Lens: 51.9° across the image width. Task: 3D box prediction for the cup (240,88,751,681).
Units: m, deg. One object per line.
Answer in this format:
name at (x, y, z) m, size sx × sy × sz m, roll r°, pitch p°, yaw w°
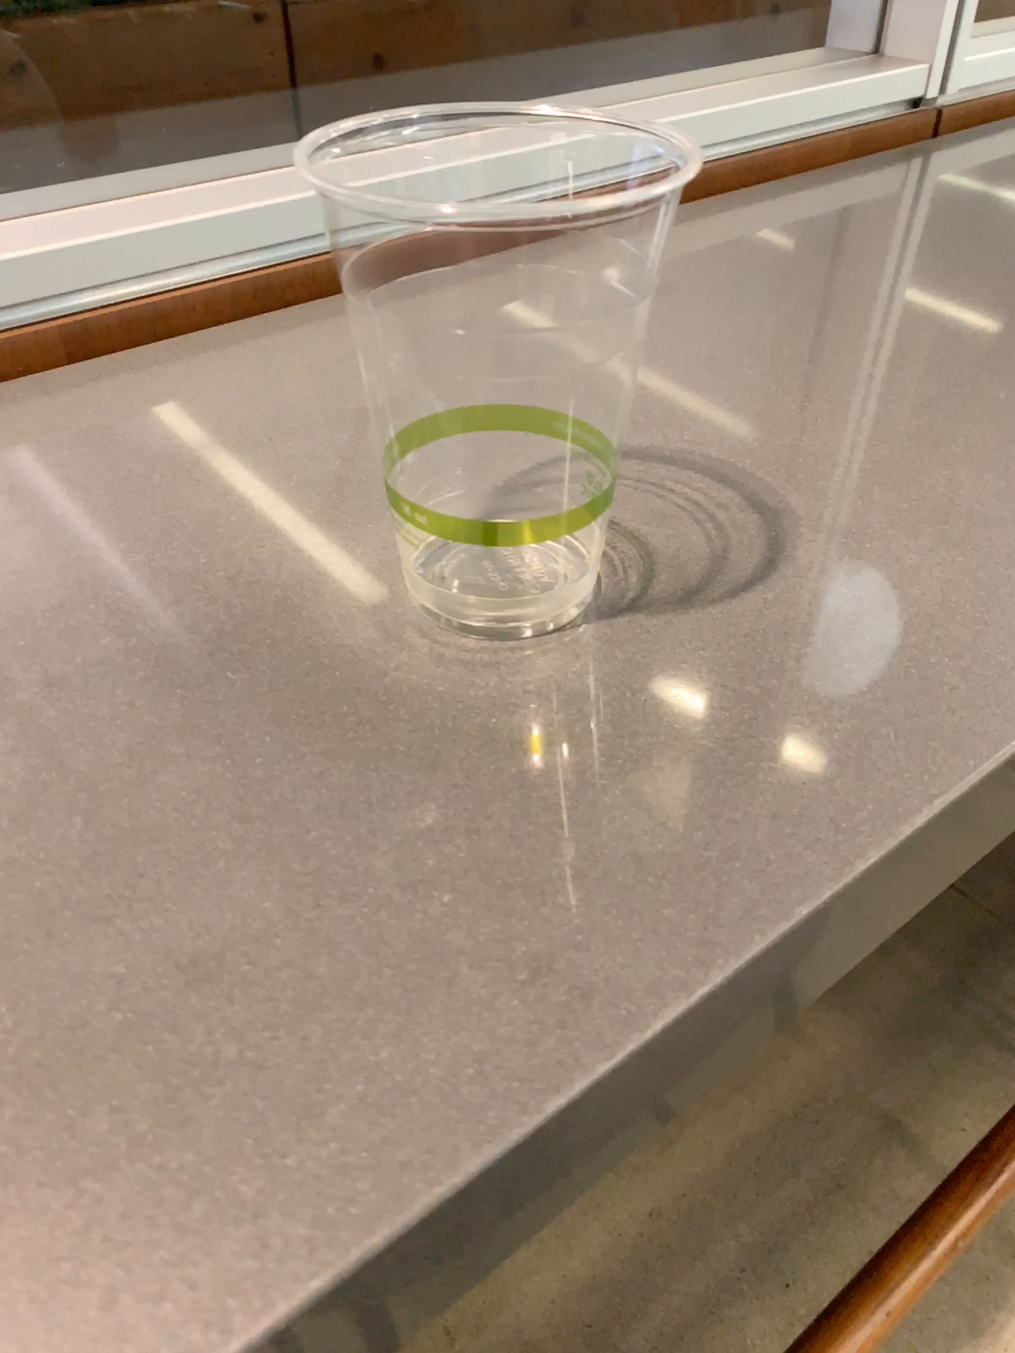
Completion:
cup at (0.005, -0.087, 0.298) m, size 0.100 × 0.119 × 0.111 m, roll 10°, pitch 41°, yaw 13°
